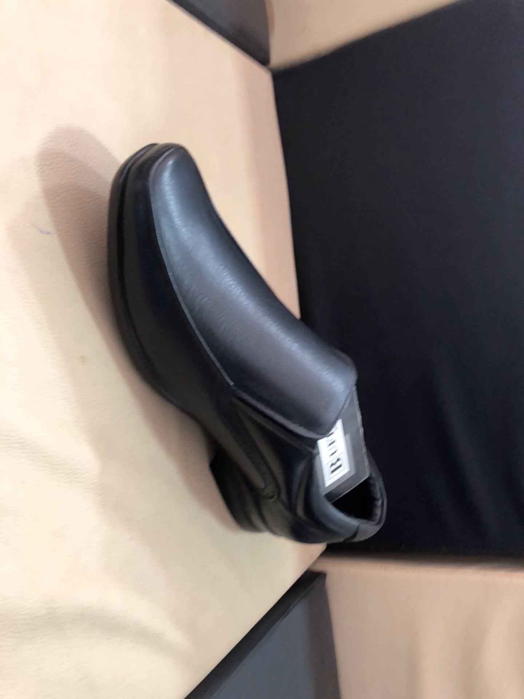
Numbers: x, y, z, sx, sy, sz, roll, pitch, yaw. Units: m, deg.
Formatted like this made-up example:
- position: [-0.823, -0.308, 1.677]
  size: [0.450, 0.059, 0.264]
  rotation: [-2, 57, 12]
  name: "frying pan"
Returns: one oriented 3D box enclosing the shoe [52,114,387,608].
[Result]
- position: [0.000, 0.021, 0.359]
  size: [0.110, 0.069, 0.281]
  rotation: [-59, 135, -48]
  name: "shoe"
